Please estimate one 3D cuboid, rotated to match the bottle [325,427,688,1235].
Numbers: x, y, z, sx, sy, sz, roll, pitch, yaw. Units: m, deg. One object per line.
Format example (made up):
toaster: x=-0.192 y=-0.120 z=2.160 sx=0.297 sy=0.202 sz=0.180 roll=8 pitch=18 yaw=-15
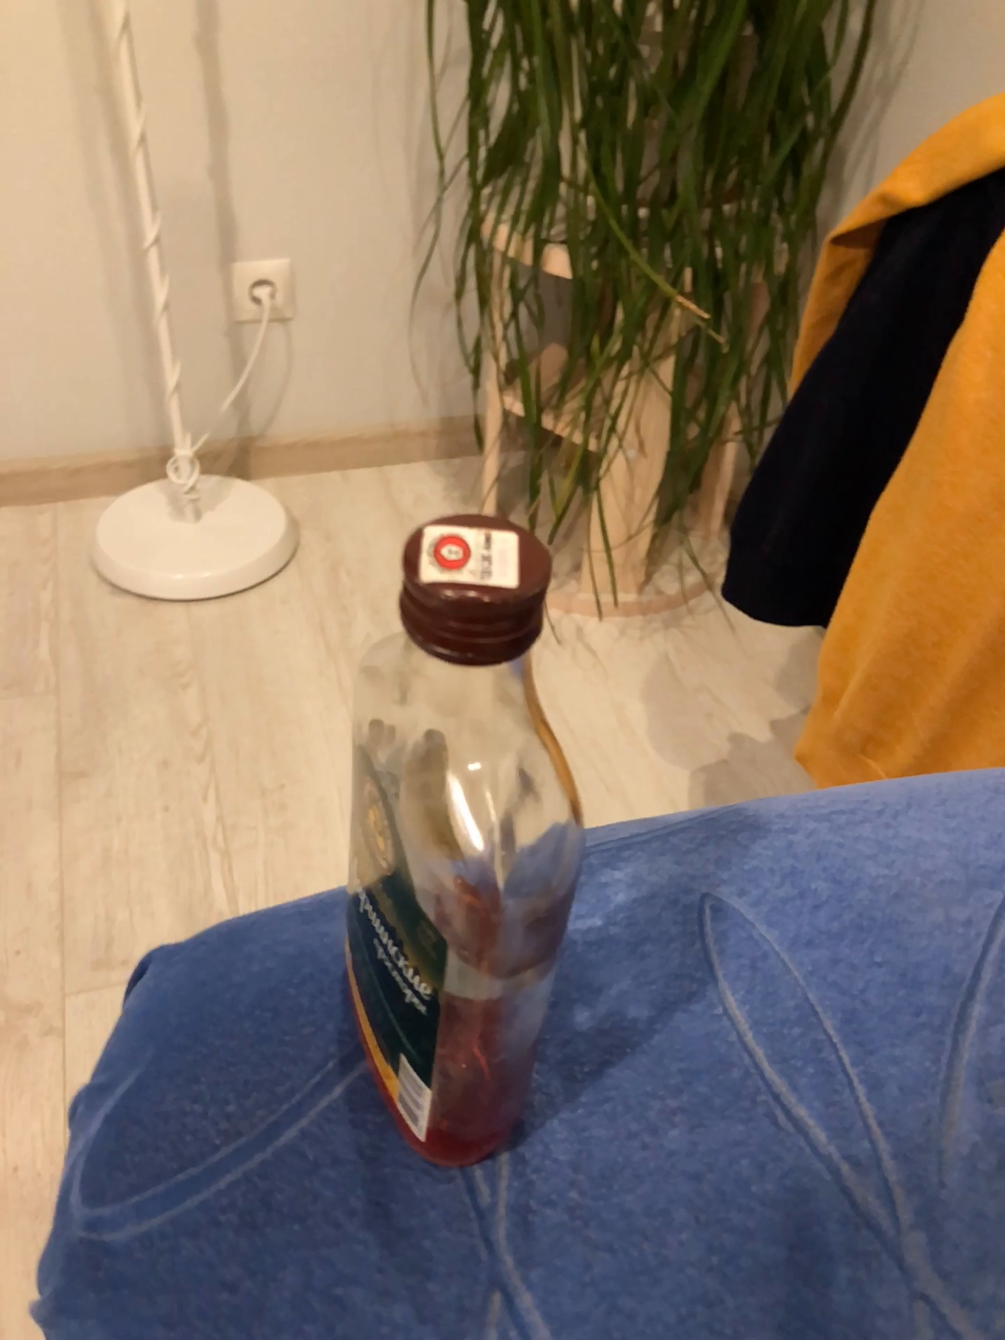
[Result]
bottle: x=-0.010 y=0.045 z=0.268 sx=0.040 sy=0.179 sz=0.091 roll=-10 pitch=42 yaw=-19
